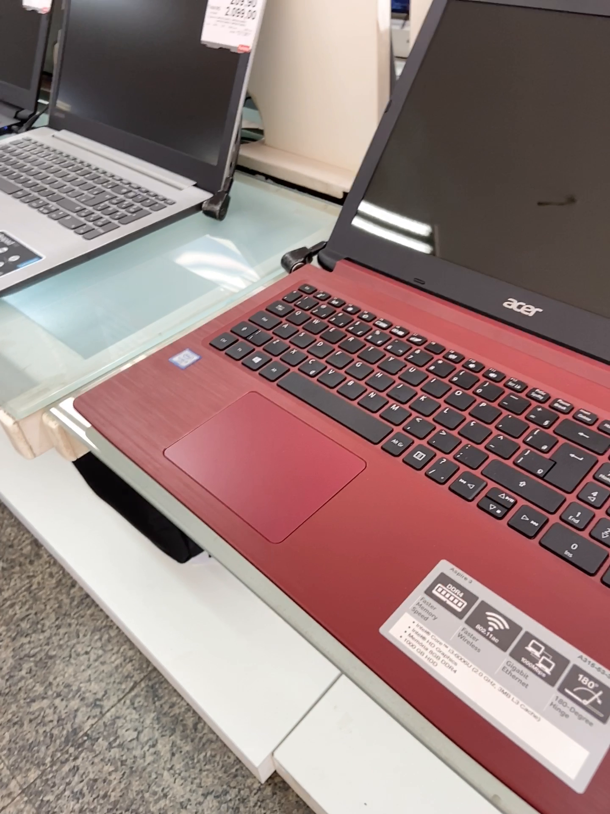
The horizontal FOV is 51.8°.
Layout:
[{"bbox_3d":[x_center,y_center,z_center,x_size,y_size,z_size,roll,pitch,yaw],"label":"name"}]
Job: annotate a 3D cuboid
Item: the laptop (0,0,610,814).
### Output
[{"bbox_3d":[0.114,-0.101,0.387,0.392,0.193,0.430,31,53,34],"label":"laptop"}]
